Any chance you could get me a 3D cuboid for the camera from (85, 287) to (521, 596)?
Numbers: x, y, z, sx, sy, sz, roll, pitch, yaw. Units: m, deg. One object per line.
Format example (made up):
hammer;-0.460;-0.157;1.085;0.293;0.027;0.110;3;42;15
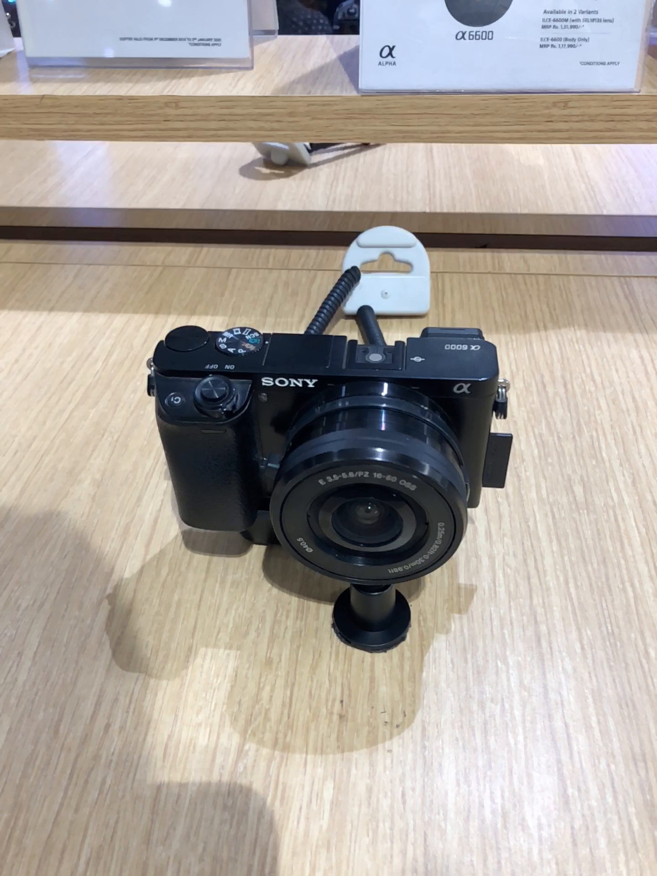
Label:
camera;-0.004;0.000;0.223;0.107;0.070;0.059;2;41;4
